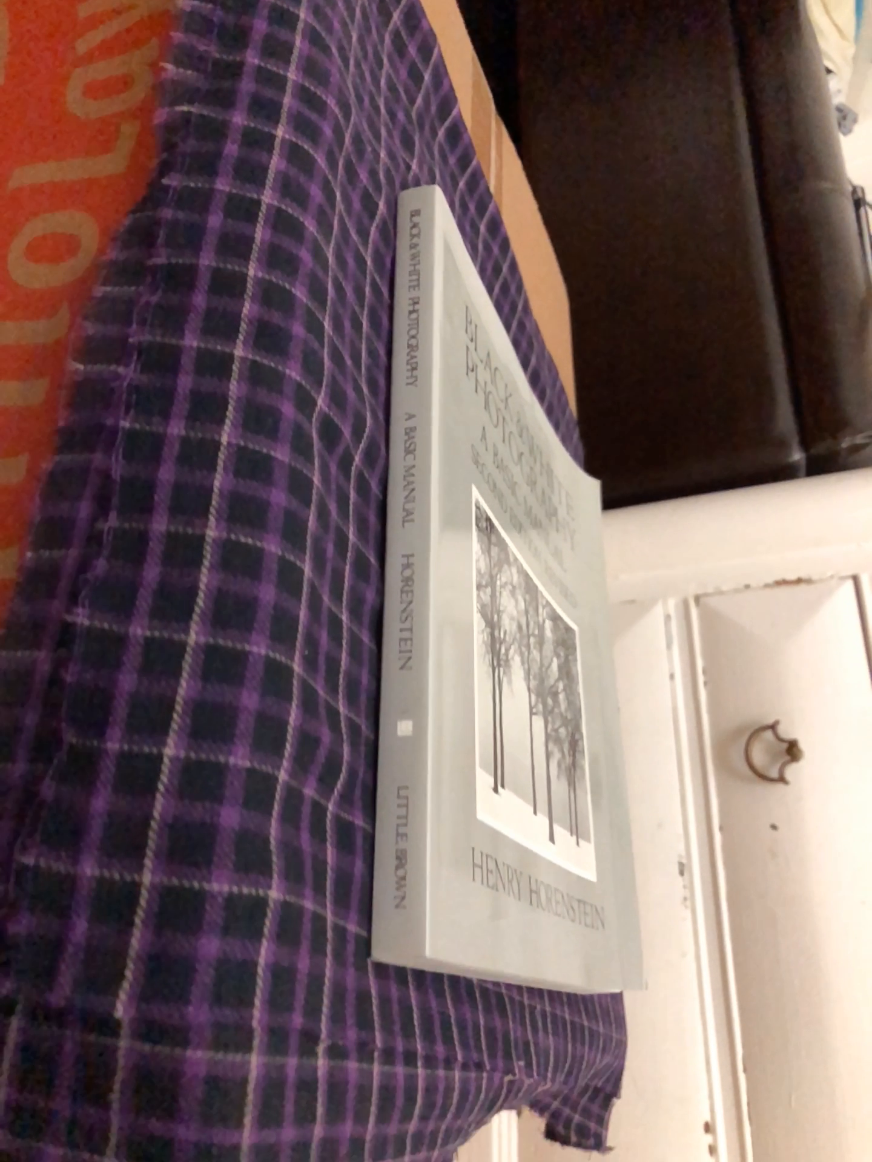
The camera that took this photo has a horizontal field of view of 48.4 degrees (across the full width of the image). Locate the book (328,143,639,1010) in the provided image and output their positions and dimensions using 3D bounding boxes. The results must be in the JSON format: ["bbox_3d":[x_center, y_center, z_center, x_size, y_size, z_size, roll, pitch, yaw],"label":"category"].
[{"bbox_3d":[0.029,0.016,0.352,0.211,0.030,0.250,48,38,-58],"label":"book"}]
